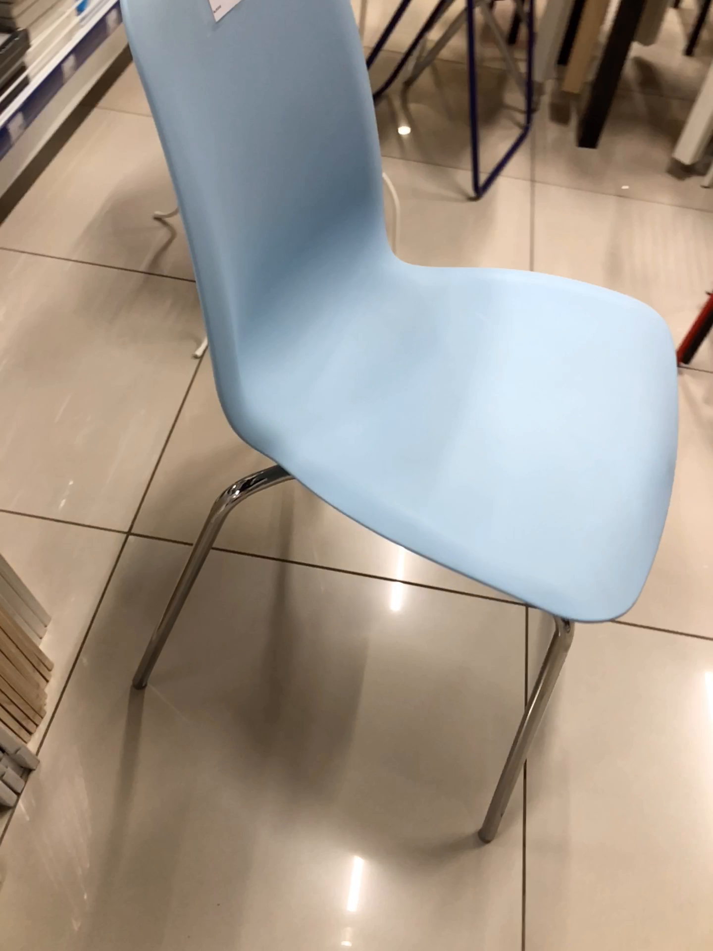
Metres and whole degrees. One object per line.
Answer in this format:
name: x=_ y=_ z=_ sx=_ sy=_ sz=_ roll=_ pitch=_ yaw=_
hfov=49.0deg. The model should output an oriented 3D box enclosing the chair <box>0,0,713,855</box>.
chair: x=0.048 y=-0.080 z=0.824 sx=0.540 sy=0.755 sz=0.564 roll=16 pitch=50 yaw=7
